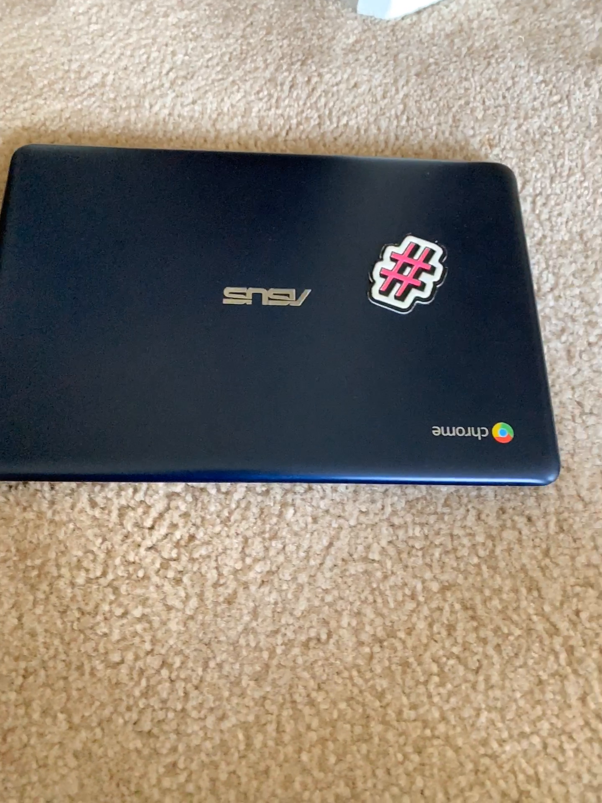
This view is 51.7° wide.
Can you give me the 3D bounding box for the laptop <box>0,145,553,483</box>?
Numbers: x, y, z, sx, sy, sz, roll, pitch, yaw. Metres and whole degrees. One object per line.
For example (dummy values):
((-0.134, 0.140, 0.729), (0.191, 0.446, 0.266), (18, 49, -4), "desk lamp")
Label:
((-0.017, -0.050, 0.319), (0.271, 0.006, 0.182), (1, 70, -4), "laptop")
